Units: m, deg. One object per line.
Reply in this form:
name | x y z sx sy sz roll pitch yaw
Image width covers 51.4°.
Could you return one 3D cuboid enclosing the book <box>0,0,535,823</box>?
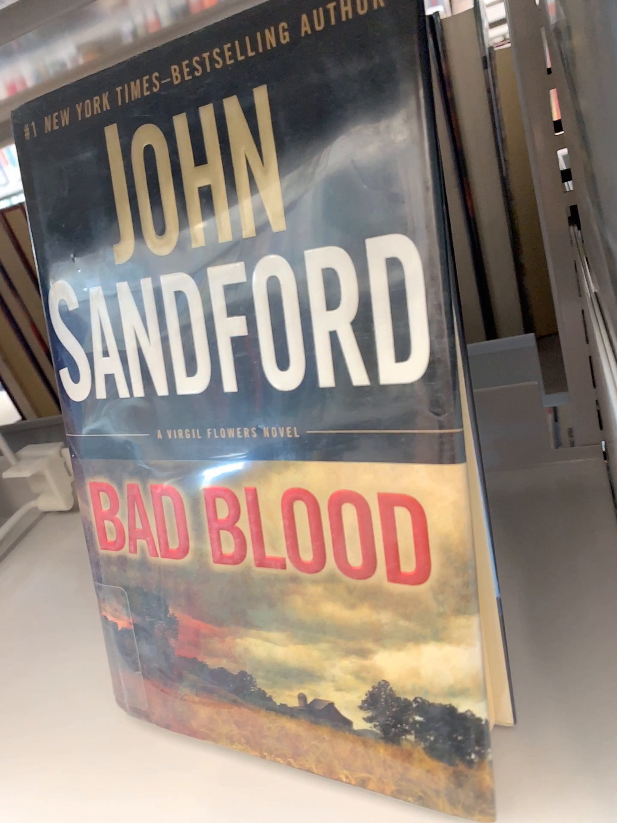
book | -0.029 0.002 0.210 0.165 0.215 0.050 -3 12 33
